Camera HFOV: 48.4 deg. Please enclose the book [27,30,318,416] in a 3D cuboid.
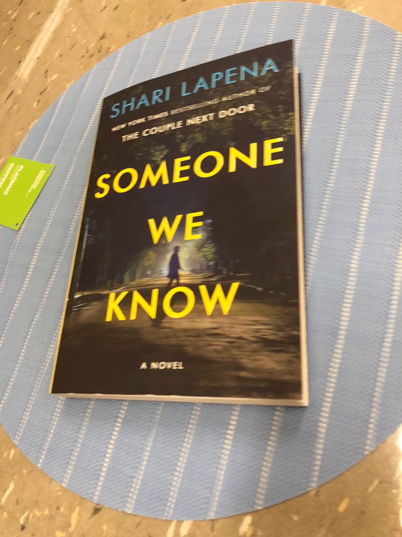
[{"bbox_3d":[-0.015,-0.029,0.281,0.162,0.030,0.225,-6,67,24],"label":"book"}]
